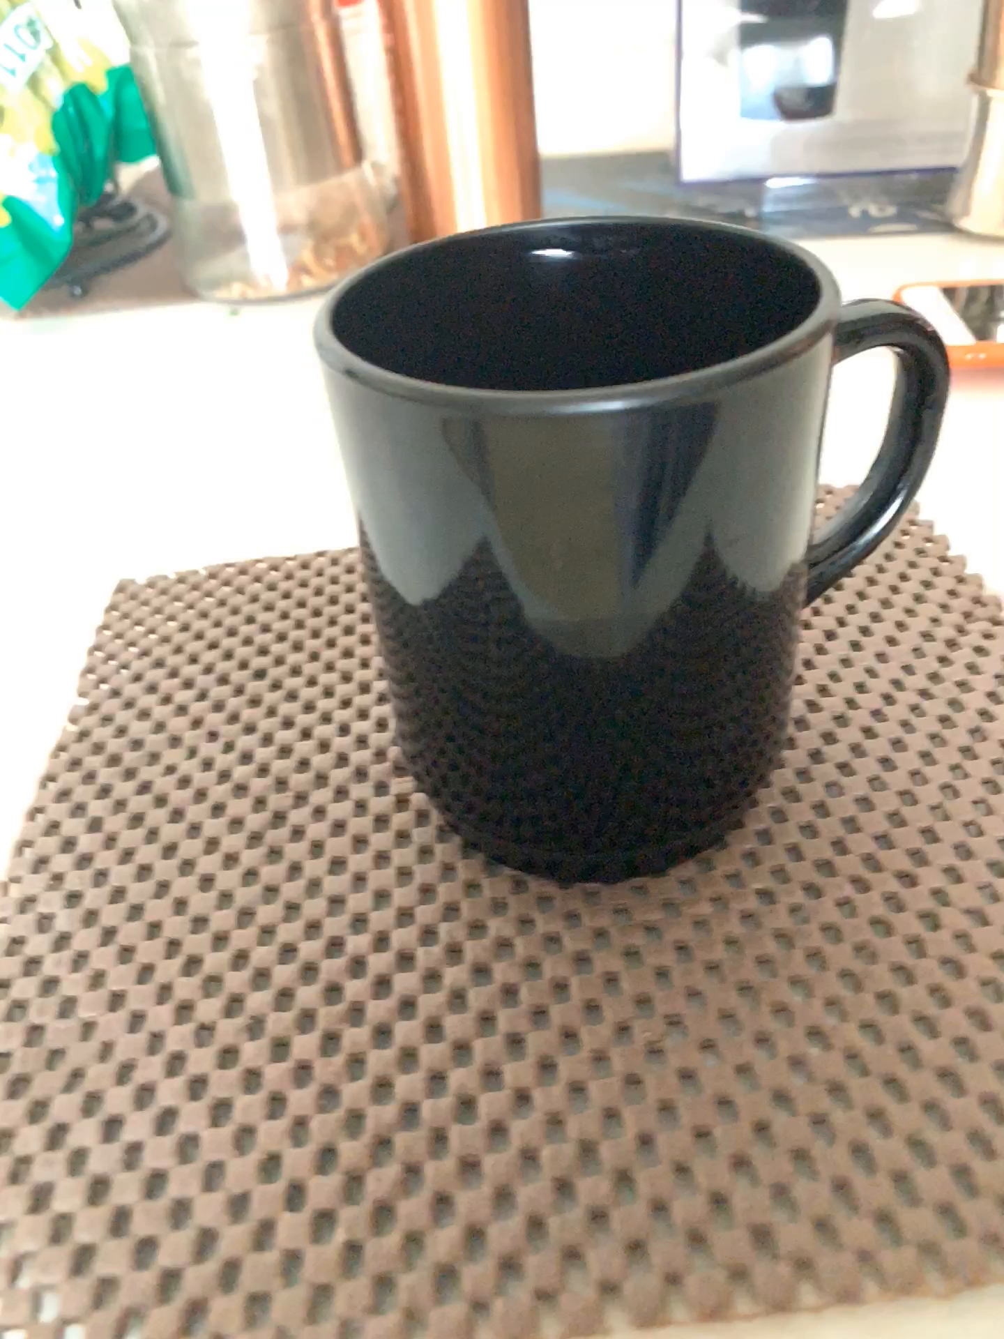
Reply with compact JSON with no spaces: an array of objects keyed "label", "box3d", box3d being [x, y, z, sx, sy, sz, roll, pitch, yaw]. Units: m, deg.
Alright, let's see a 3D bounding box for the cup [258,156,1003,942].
[{"label":"cup","box3d":[0.026,-0.027,0.176,0.101,0.080,0.077,-19,40,-16]}]
